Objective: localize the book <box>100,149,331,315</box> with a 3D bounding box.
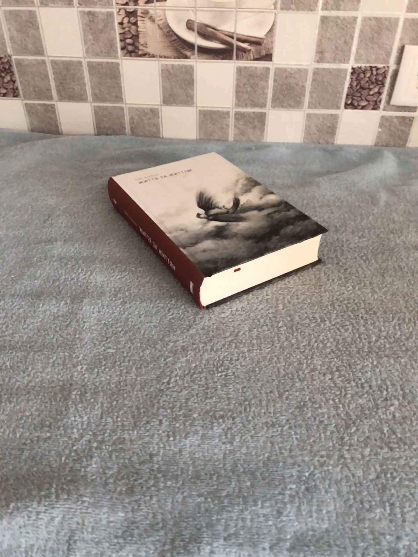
[{"bbox_3d":[-0.003,-0.068,0.506,0.156,0.040,0.221,-20,44,-25],"label":"book"}]
